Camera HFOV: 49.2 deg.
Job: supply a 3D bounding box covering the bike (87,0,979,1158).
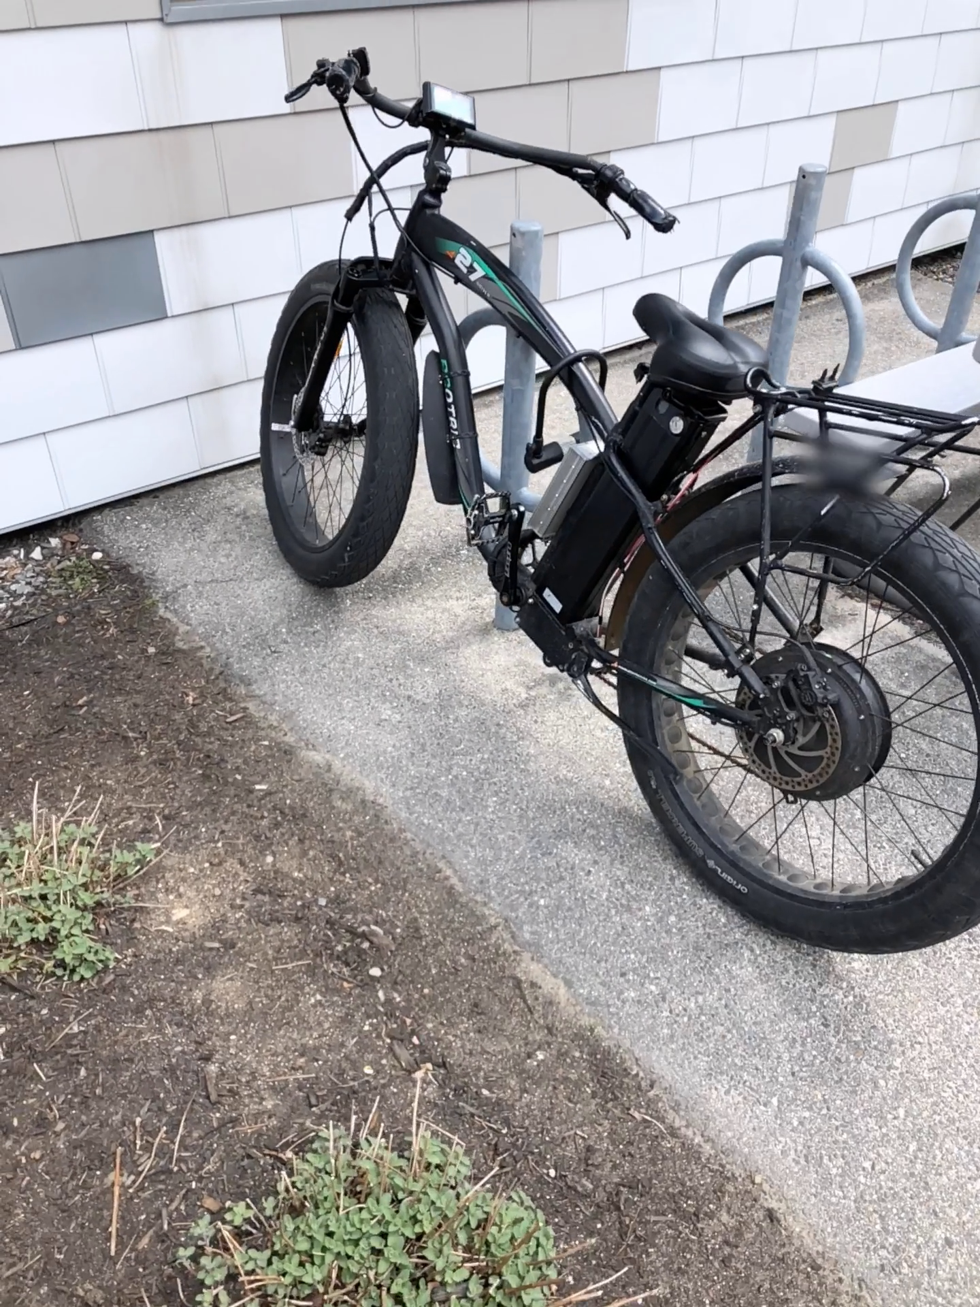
[{"bbox_3d":[0.218,-0.413,1.915,0.914,1.132,1.863,-25,48,-31],"label":"bike"}]
